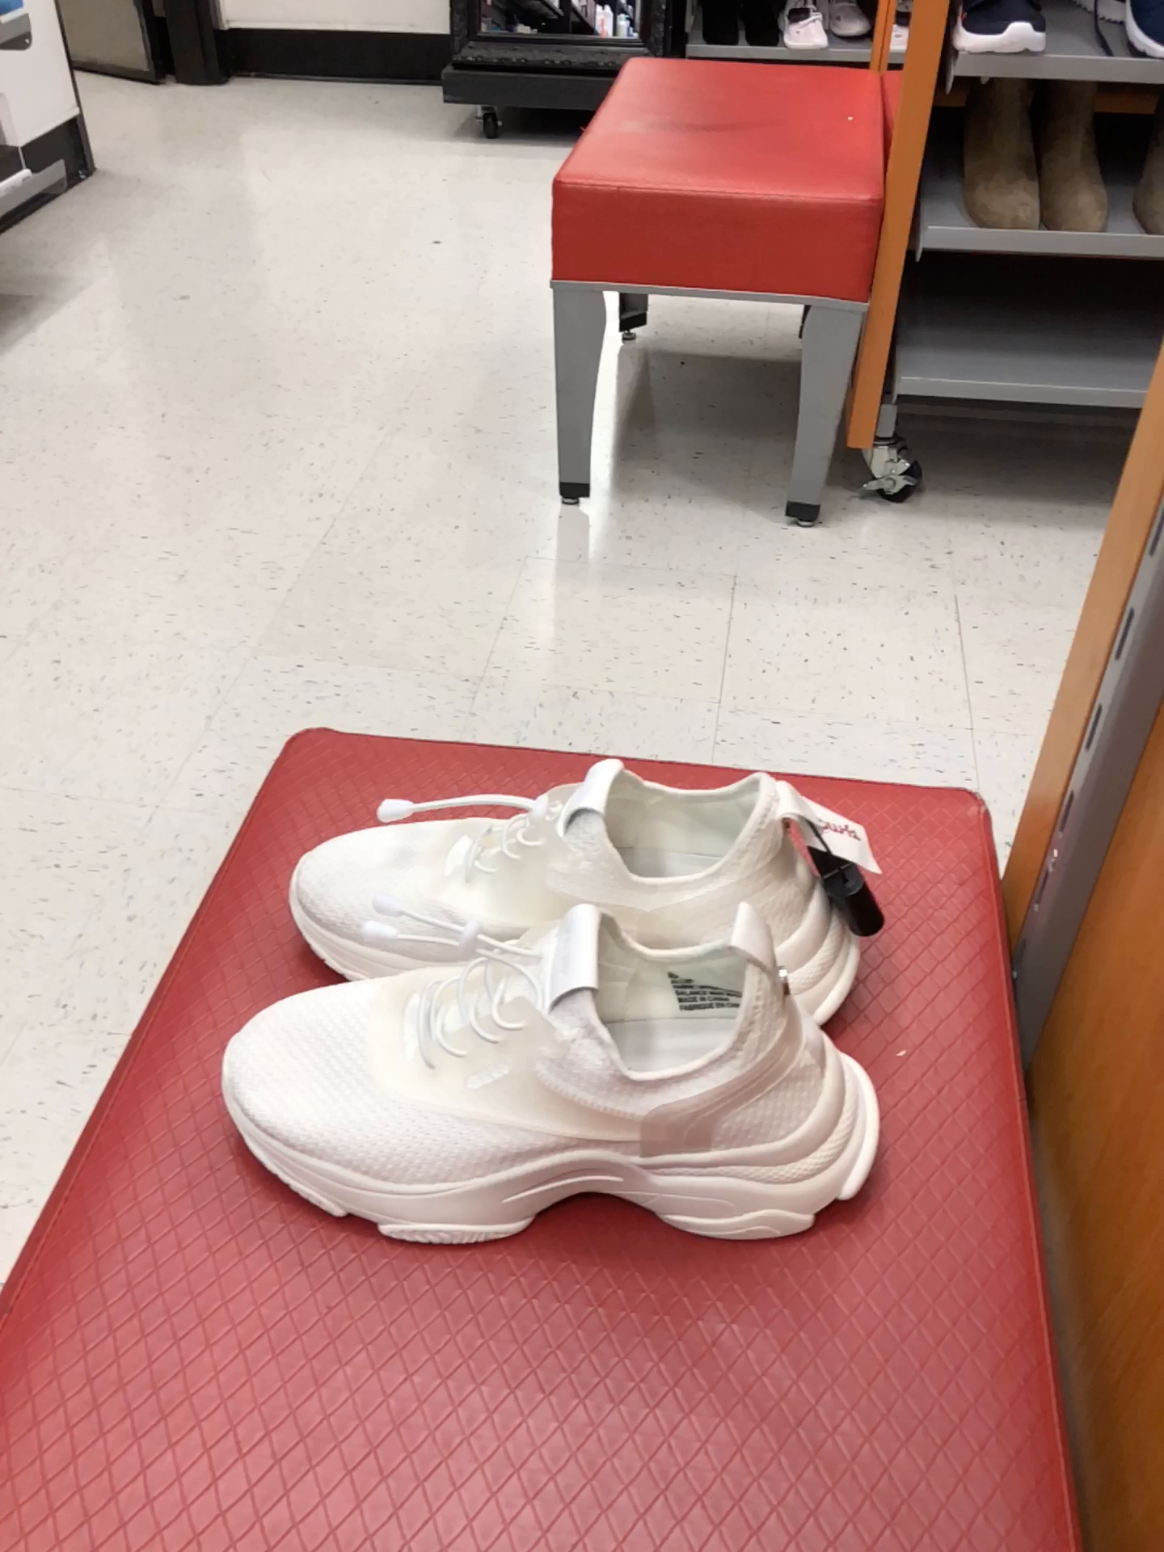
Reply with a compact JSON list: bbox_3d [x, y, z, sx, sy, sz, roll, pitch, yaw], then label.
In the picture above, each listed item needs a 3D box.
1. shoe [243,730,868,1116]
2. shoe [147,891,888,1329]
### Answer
[{"bbox_3d":[-0.007,0.069,0.635,0.278,0.110,0.112,6,40,7],"label":"shoe"},{"bbox_3d":[-0.021,0.140,0.549,0.278,0.110,0.110,5,40,6],"label":"shoe"}]
